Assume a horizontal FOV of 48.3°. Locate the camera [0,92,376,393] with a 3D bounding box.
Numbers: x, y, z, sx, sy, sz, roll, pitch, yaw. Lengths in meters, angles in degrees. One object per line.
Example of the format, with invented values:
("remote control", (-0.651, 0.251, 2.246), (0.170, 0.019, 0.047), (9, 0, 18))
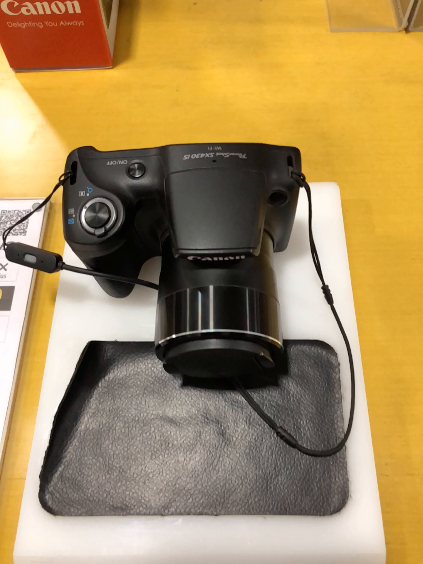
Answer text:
("camera", (-0.007, -0.010, 0.198), (0.110, 0.090, 0.090), (-1, 64, 1))
